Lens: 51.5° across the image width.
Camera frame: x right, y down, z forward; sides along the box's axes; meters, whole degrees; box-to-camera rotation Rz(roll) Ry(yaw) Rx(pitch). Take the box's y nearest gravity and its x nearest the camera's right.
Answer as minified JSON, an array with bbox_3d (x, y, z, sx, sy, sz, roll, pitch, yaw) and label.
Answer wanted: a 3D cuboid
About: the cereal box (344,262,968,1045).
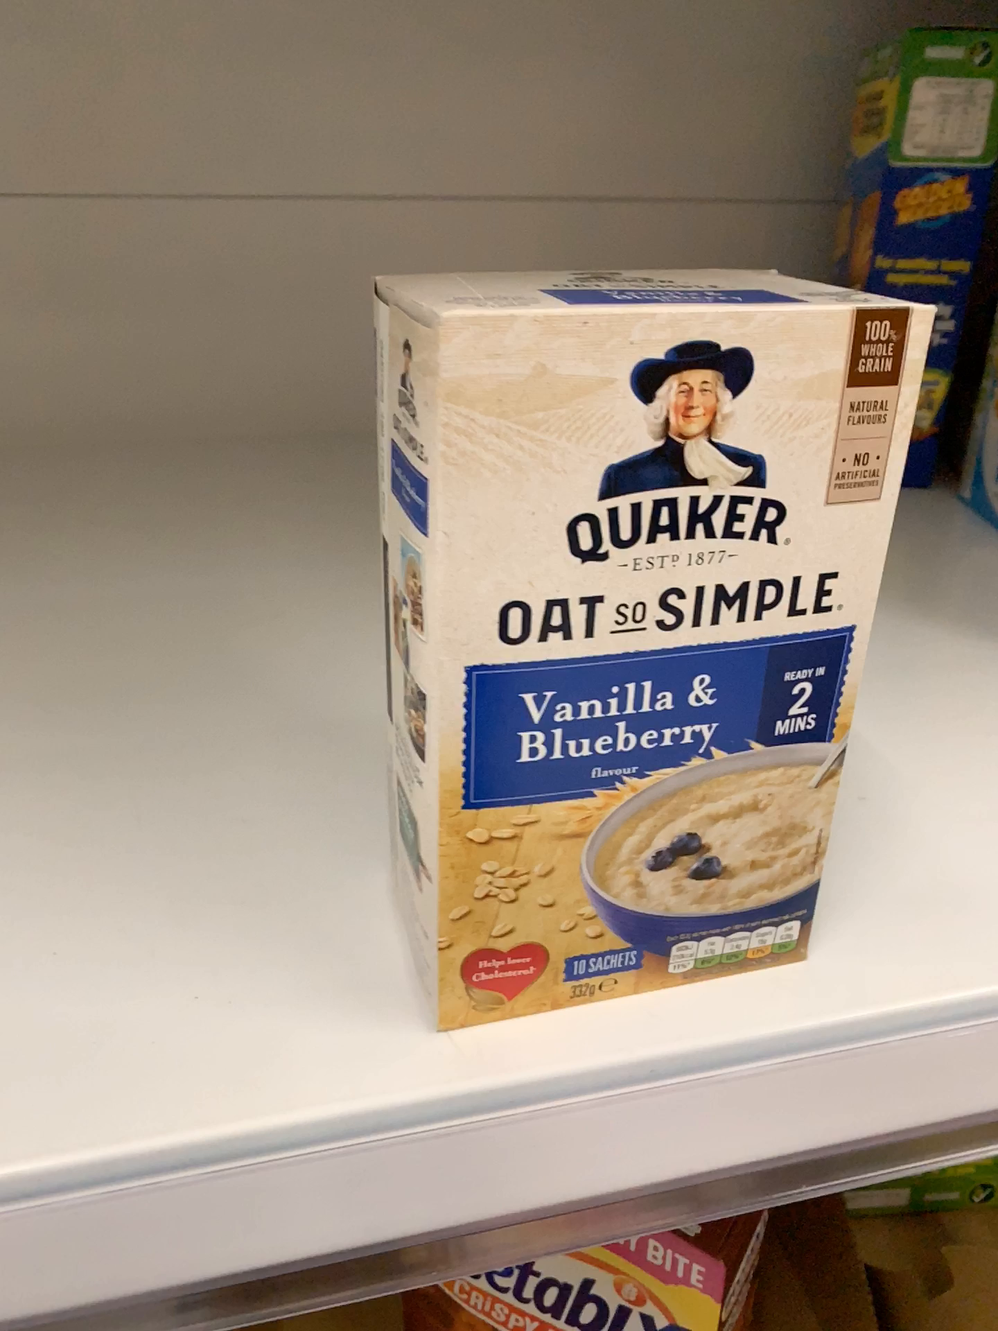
[{"bbox_3d":[0.033,-0.006,0.313,0.140,0.208,0.081,-6,27,-15],"label":"cereal box"}]
